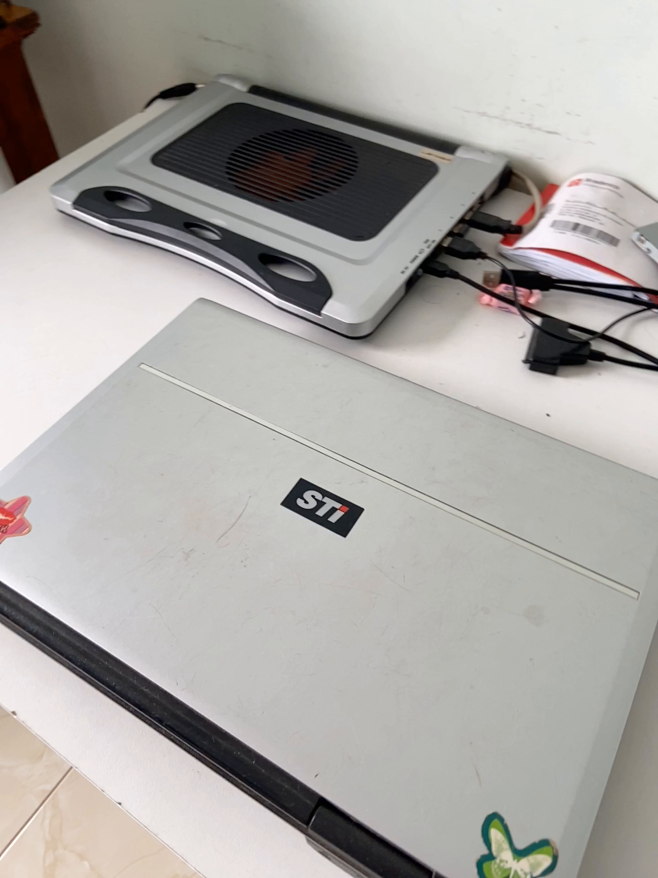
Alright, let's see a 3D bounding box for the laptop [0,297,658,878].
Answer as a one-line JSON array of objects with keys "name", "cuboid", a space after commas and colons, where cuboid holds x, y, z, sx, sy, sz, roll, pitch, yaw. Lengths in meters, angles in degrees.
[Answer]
[{"name": "laptop", "cuboid": [-0.009, 0.045, 0.366, 0.339, 0.004, 0.235, 24, 55, 21]}]
